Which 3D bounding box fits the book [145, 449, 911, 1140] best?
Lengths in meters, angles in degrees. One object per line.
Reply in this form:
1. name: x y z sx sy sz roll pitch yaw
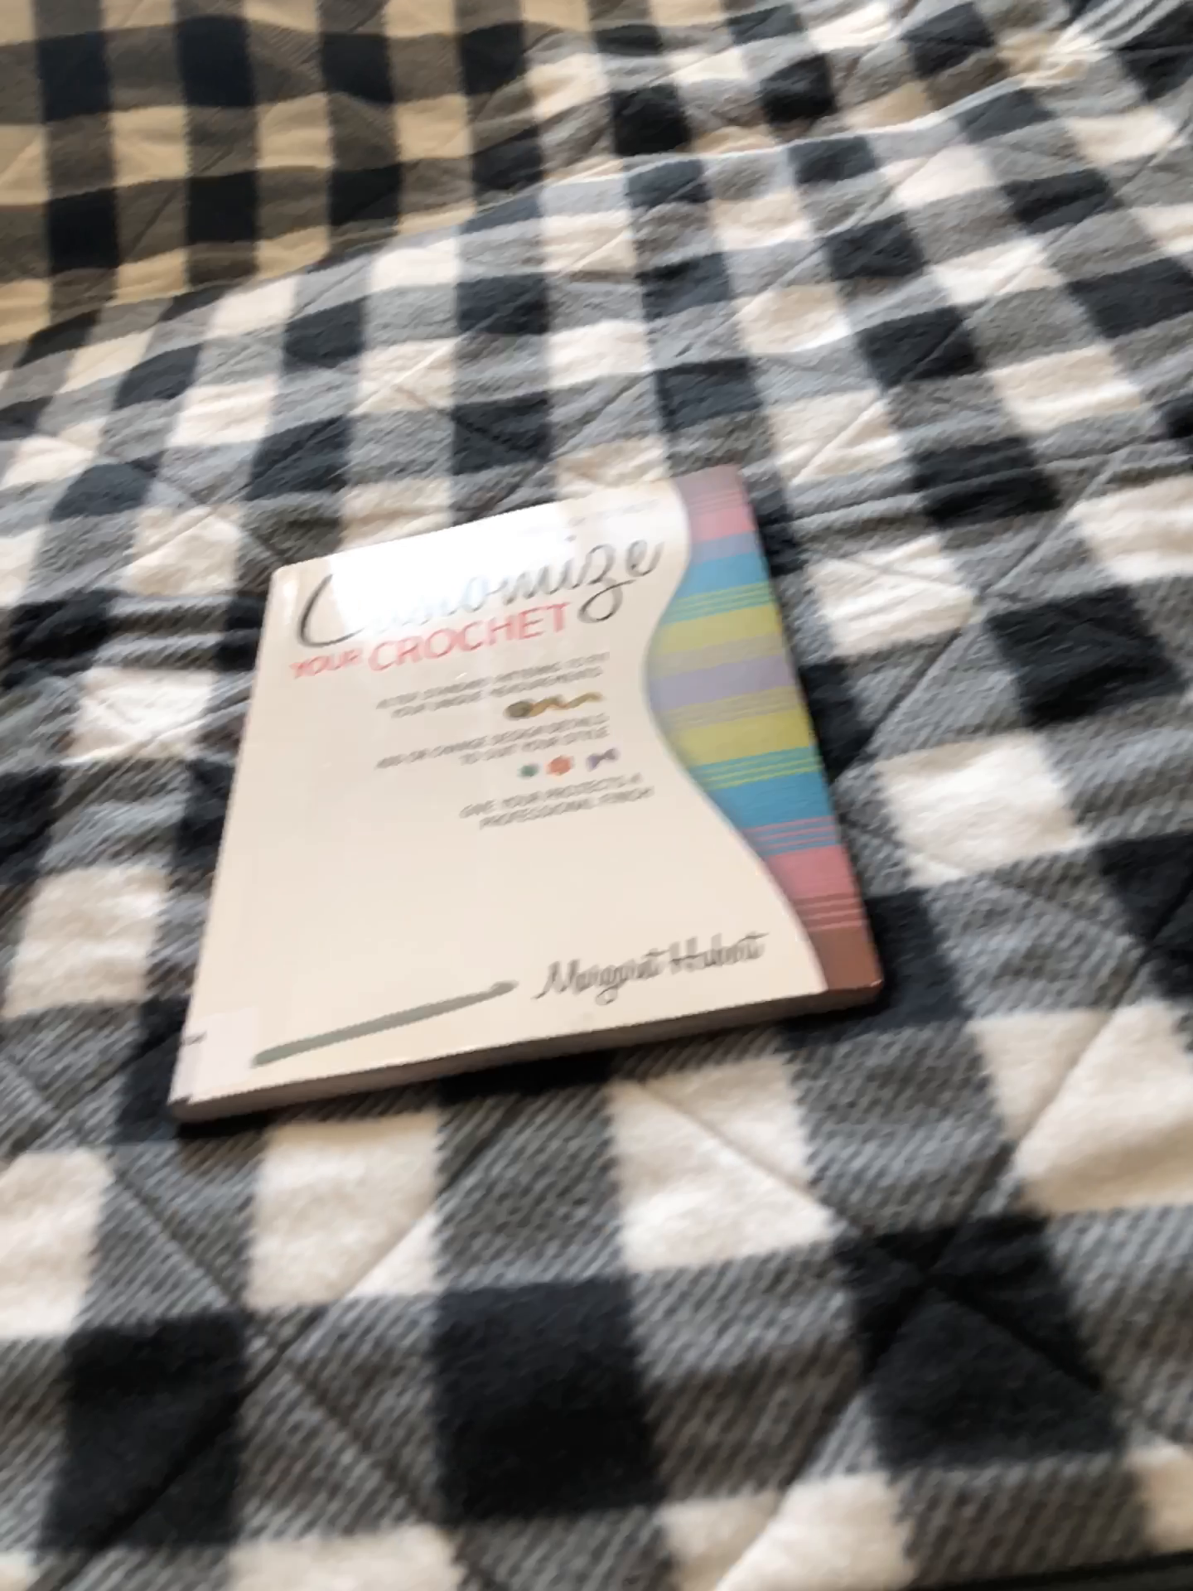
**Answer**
1. book: -0.025 -0.019 0.405 0.186 0.020 0.239 -11 43 5
